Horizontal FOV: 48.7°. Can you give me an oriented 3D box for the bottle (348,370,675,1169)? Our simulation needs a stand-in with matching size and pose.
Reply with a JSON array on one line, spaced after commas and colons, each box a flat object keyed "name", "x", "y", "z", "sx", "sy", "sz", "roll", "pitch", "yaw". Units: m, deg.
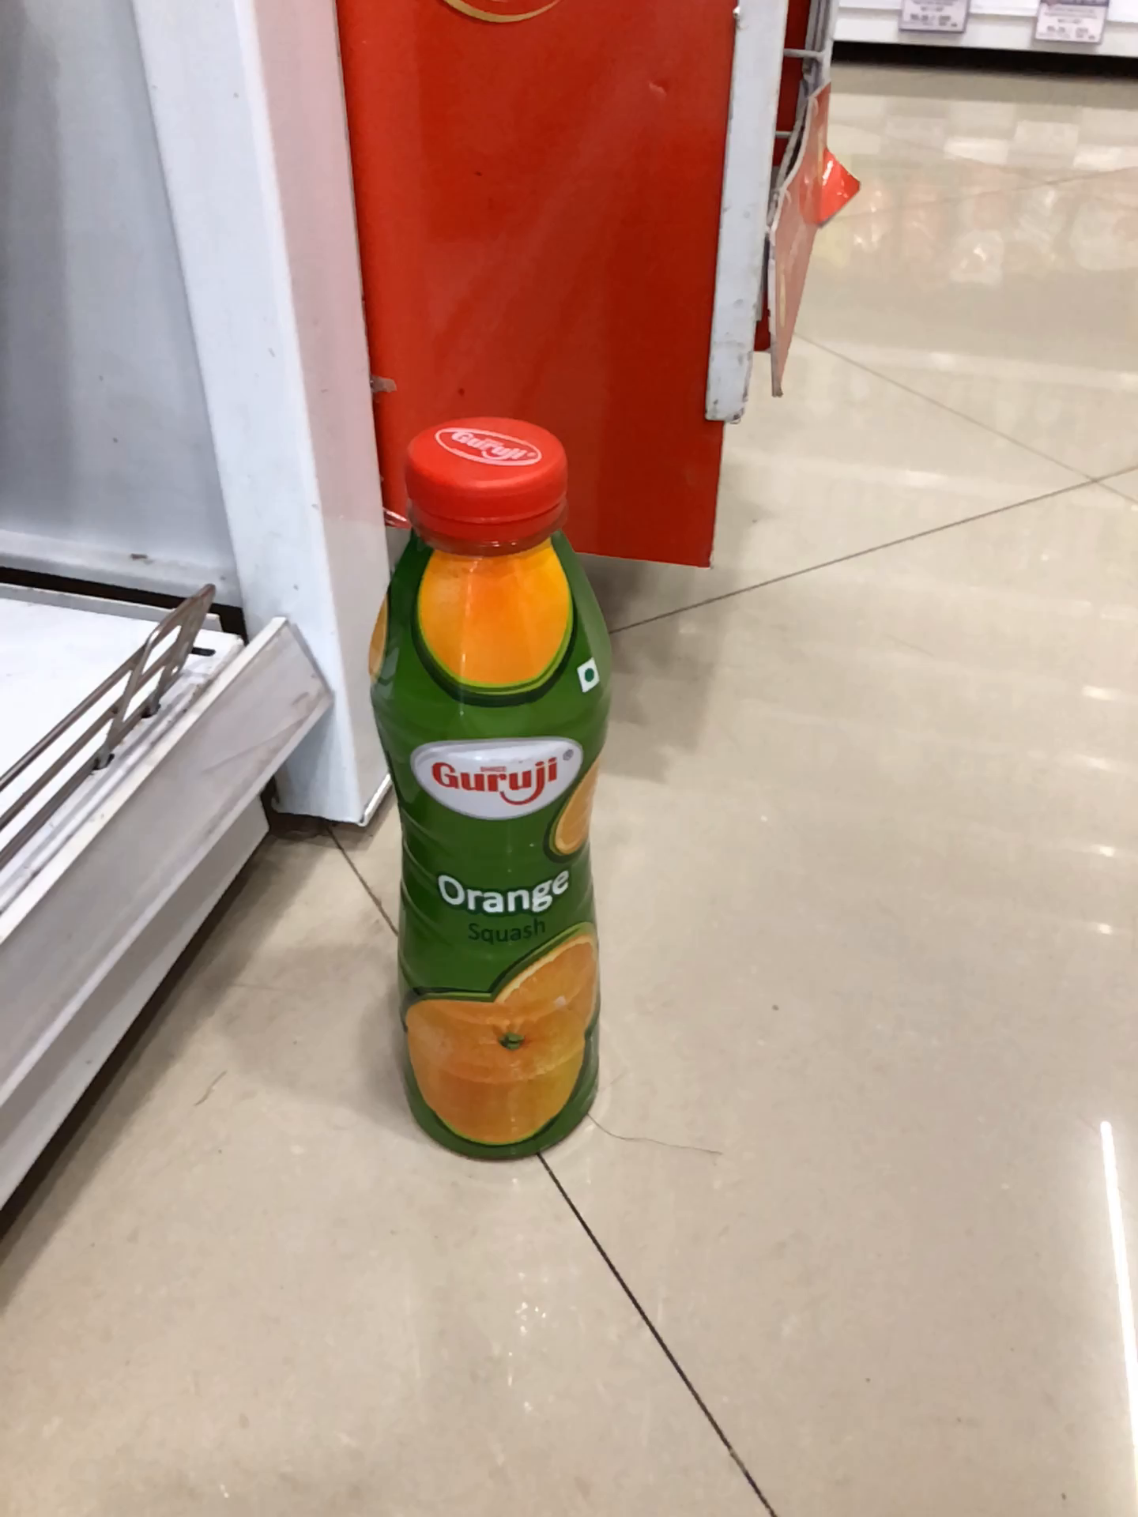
[{"name": "bottle", "x": -0.018, "y": 0.017, "z": 0.369, "sx": 0.070, "sy": 0.238, "sz": 0.070, "roll": 0, "pitch": 38, "yaw": 0}]
